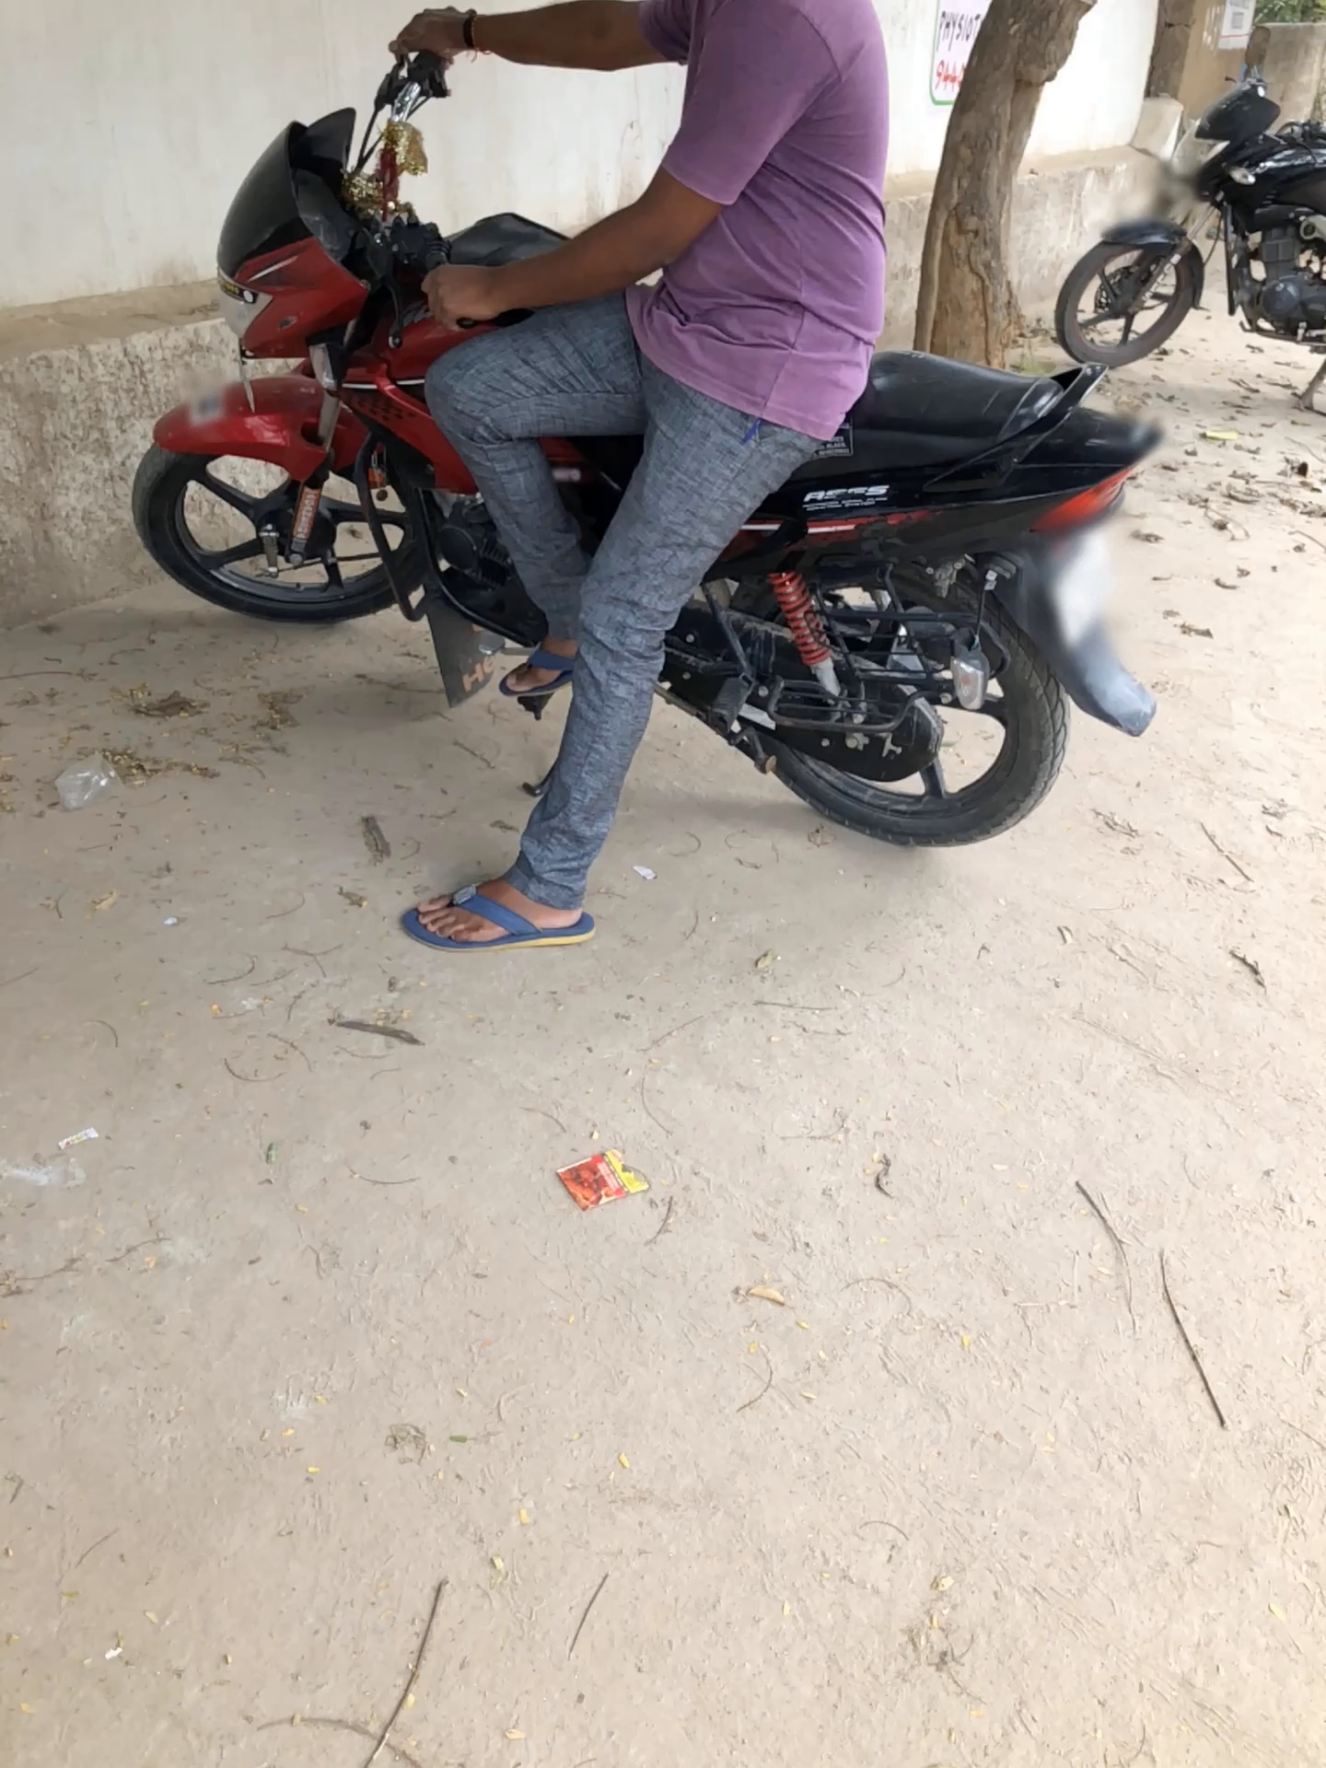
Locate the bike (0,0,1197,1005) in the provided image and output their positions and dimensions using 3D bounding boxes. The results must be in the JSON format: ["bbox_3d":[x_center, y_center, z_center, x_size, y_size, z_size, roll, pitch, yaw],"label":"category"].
[{"bbox_3d":[-0.225,-0.738,2.129,1.697,1.086,0.745,16,34,13],"label":"bike"}]
